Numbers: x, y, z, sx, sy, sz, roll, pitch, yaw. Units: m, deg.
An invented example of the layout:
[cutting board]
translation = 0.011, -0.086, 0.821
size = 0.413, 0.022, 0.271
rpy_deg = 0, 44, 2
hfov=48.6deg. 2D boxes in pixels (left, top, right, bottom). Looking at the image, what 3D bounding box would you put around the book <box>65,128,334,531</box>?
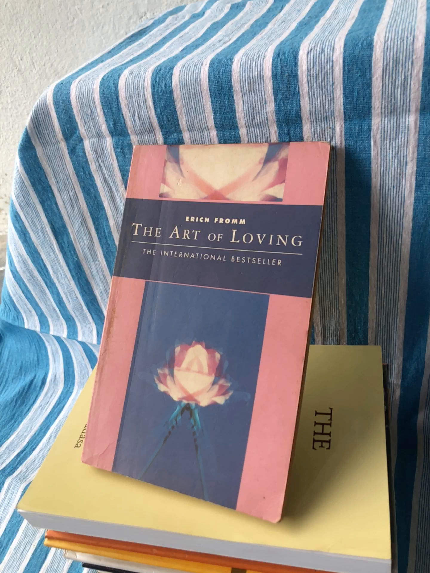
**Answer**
[book]
translation = -0.012, 0.012, 0.261
size = 0.129, 0.015, 0.193
rpy_deg = 5, 83, 26
